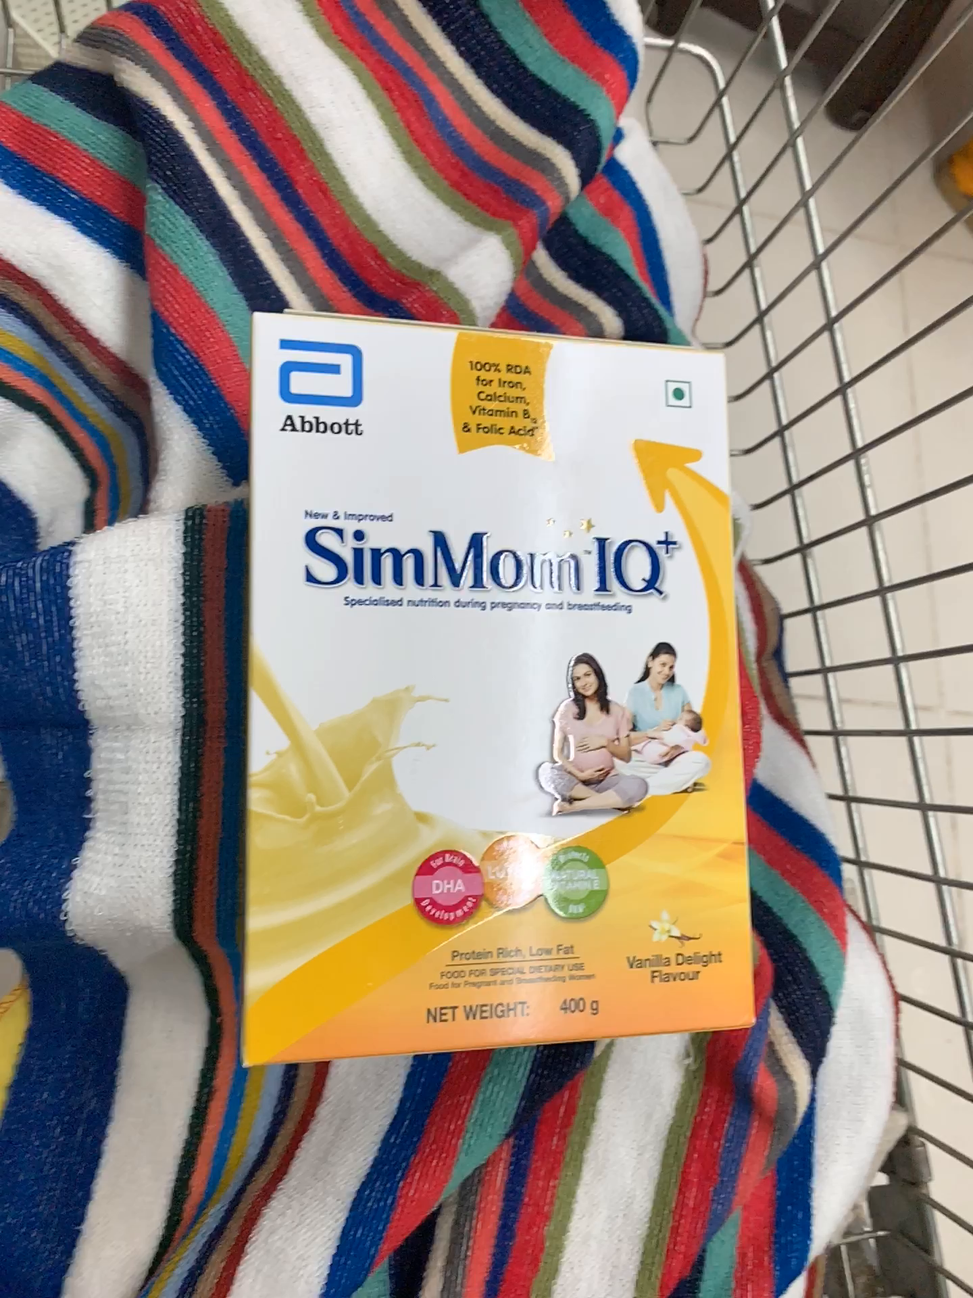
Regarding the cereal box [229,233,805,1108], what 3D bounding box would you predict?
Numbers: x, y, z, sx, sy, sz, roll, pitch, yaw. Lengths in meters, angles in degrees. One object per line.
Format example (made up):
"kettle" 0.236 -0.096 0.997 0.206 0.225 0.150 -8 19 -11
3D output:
"cereal box" 0.006 0.005 0.270 0.140 0.050 0.200 1 84 -14
